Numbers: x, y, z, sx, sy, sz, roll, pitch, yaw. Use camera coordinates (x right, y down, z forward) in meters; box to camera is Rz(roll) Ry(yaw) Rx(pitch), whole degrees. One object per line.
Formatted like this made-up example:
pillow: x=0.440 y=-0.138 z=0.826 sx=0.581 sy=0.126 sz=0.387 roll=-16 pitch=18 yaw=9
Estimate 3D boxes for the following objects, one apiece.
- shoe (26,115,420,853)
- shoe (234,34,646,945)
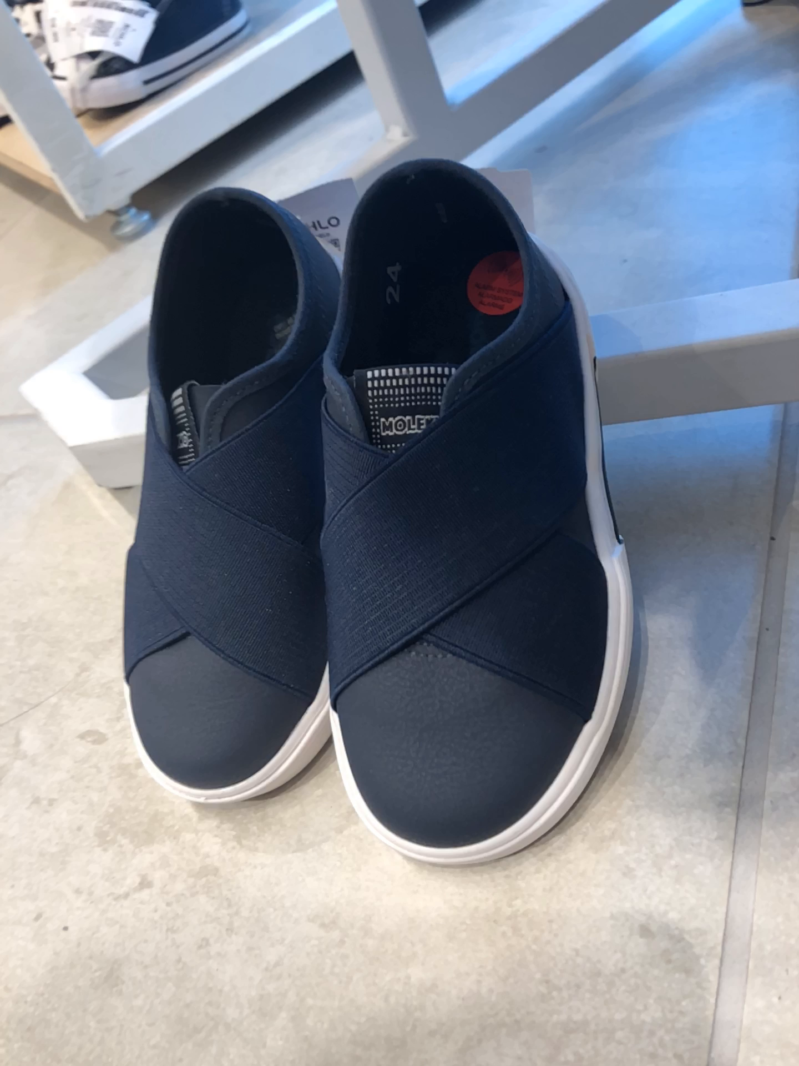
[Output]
shoe: x=-0.043 y=-0.012 z=0.257 sx=0.070 sy=0.070 sz=0.180 roll=-1 pitch=79 yaw=21
shoe: x=0.014 y=-0.009 z=0.217 sx=0.070 sy=0.070 sz=0.180 roll=-5 pitch=77 yaw=25
